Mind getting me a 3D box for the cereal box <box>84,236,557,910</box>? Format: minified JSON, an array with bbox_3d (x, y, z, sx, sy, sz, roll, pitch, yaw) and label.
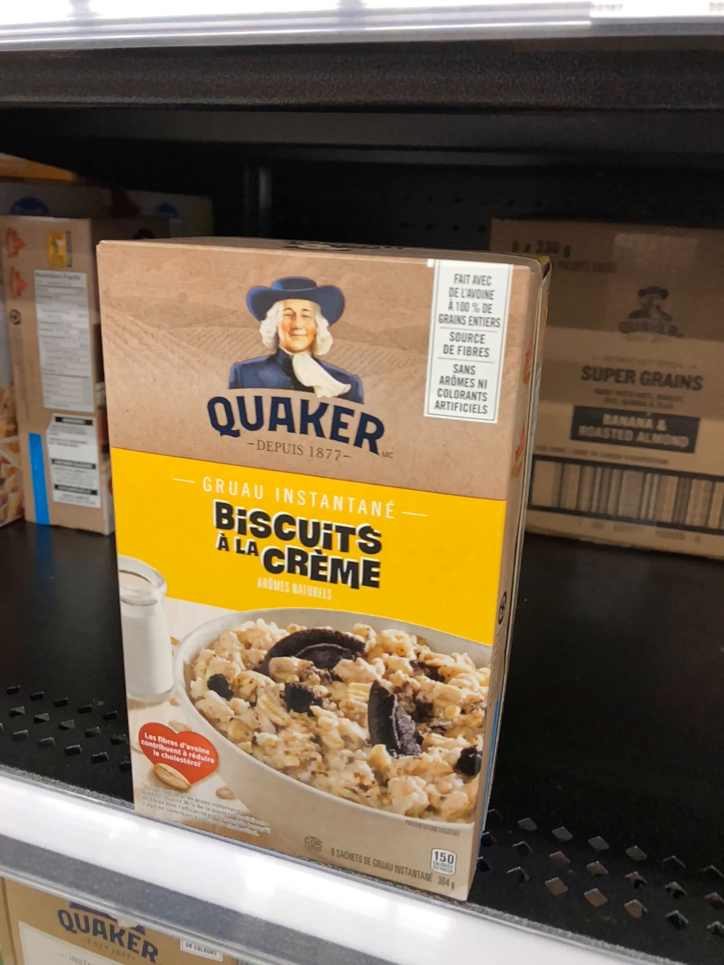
[{"bbox_3d":[-0.010,0.020,0.269,0.120,0.189,0.080,8,19,16],"label":"cereal box"}]
